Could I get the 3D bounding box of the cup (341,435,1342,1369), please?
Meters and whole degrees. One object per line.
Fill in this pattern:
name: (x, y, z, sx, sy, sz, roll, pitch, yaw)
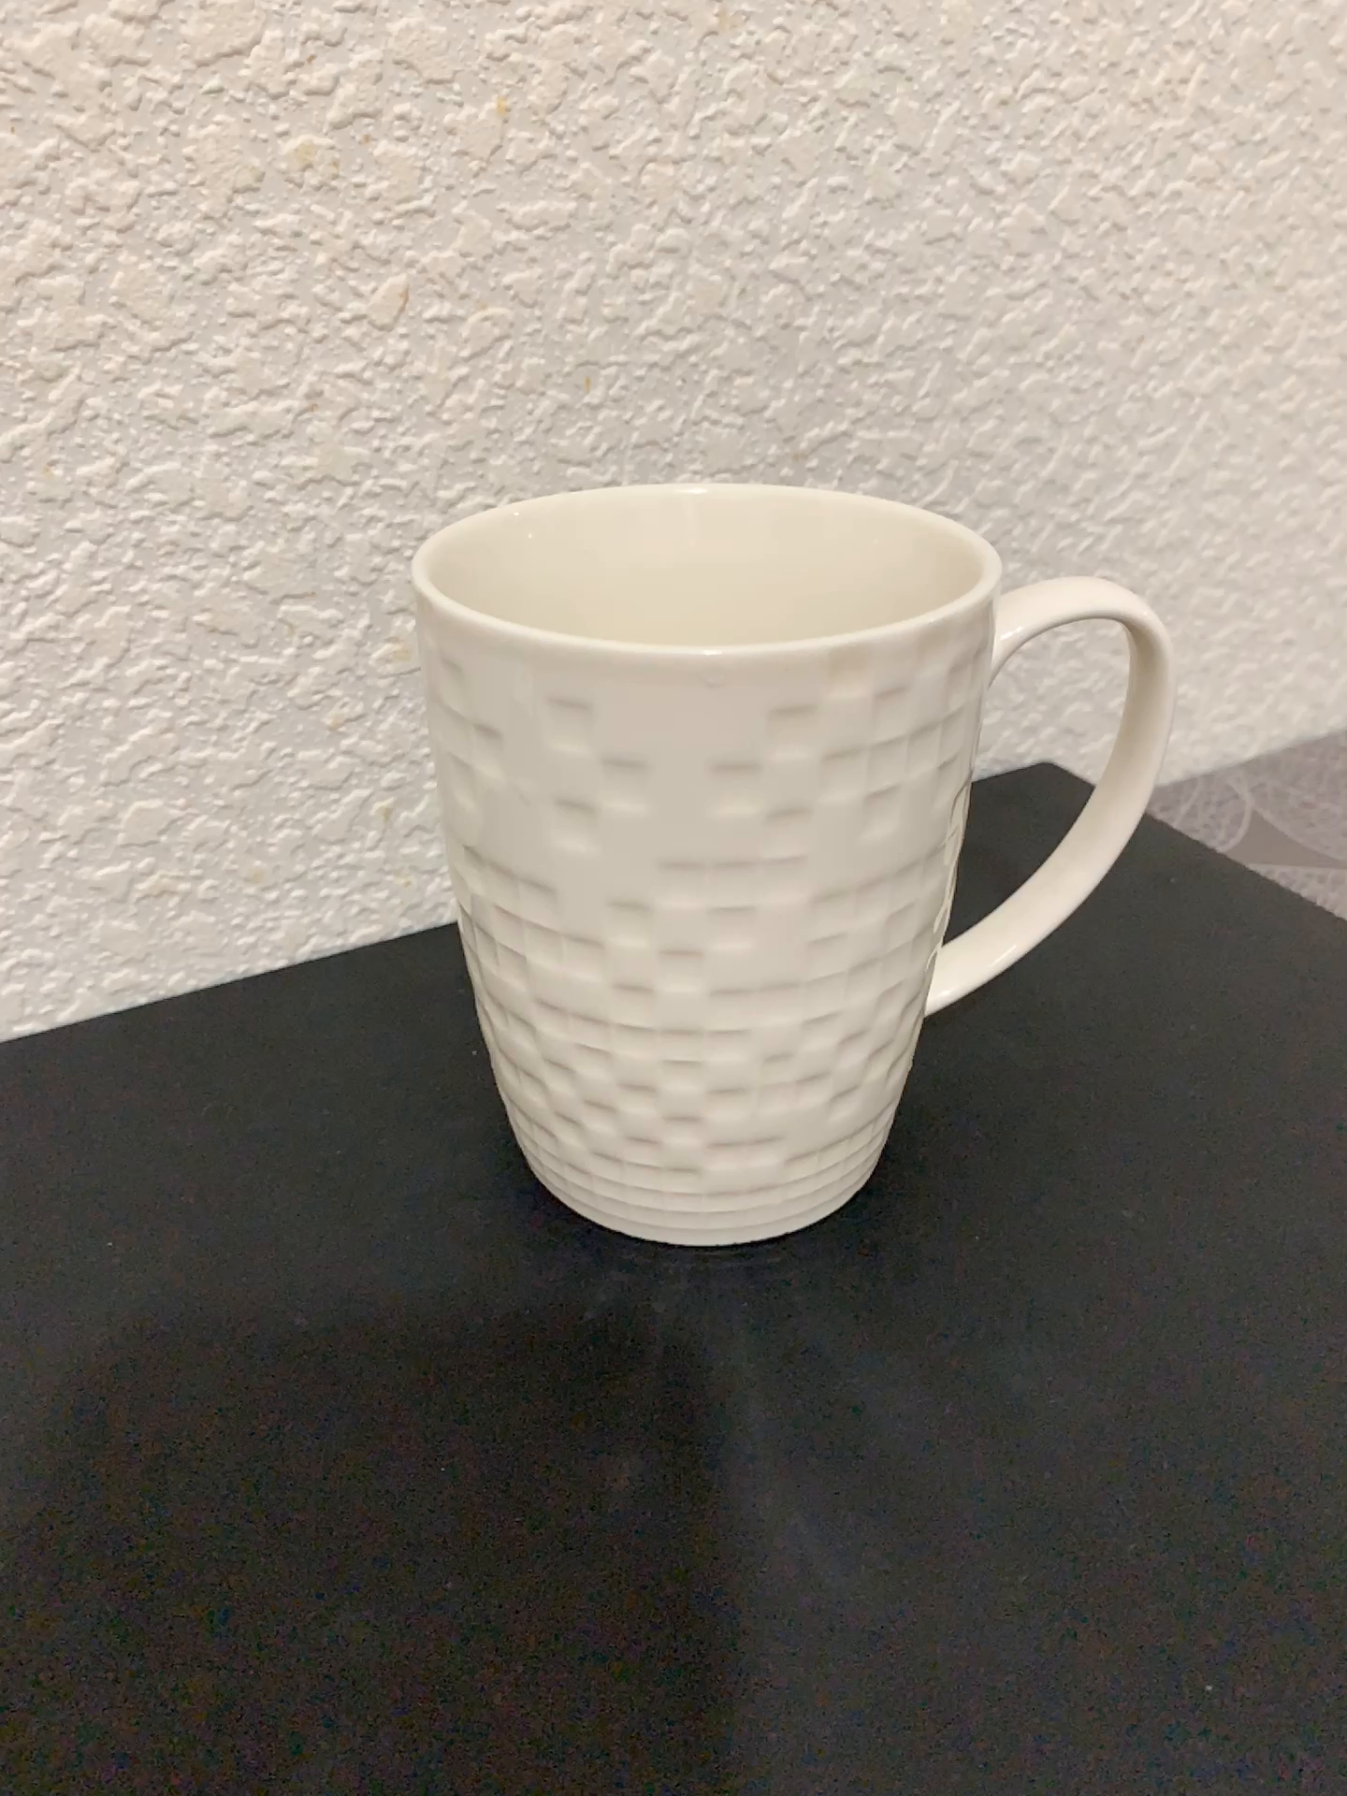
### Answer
cup: (0.020, -0.008, 0.229, 0.119, 0.105, 0.082, -12, 33, -19)
